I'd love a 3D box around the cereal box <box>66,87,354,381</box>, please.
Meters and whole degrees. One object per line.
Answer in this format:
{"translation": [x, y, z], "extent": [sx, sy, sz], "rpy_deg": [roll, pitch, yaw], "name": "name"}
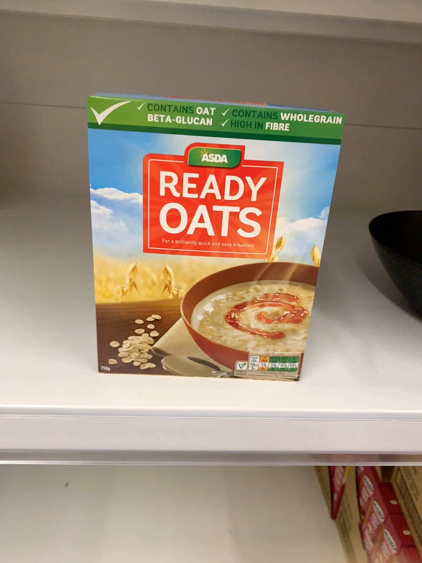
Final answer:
{"translation": [-0.008, -0.039, 0.422], "extent": [0.220, 0.258, 0.081], "rpy_deg": [3, 24, -3], "name": "cereal box"}
